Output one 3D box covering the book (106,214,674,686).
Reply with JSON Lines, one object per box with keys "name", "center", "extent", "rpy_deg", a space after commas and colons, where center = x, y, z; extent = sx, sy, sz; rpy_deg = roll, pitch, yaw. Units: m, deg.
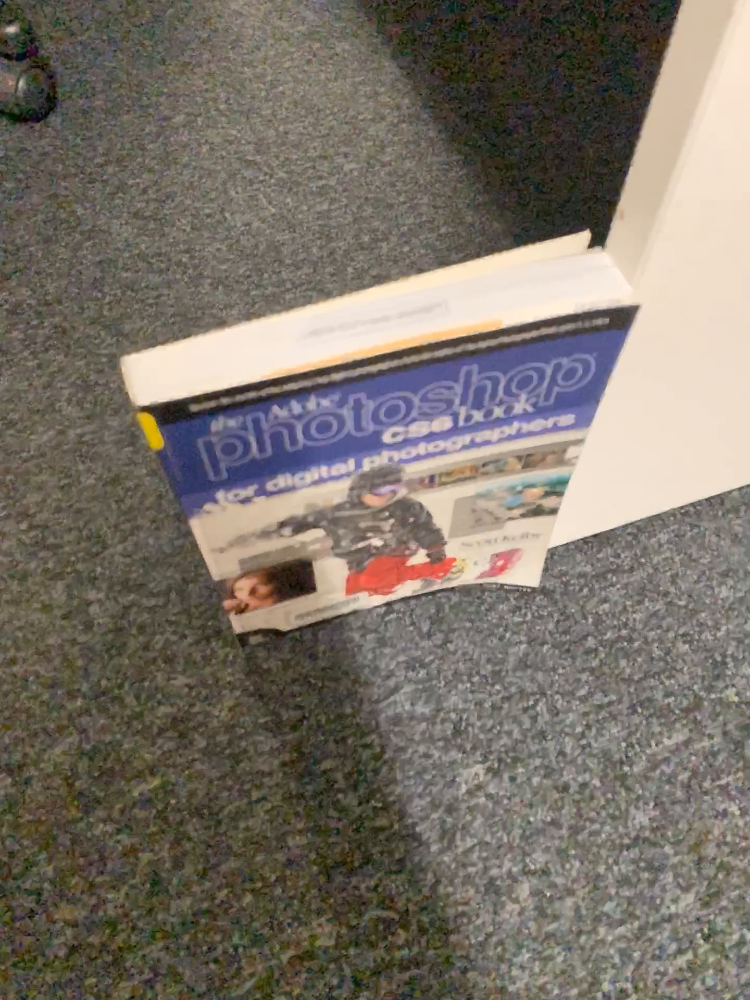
{"name": "book", "center": [0.008, 0.000, 0.408], "extent": [0.211, 0.275, 0.052], "rpy_deg": [-16, 60, -9]}
